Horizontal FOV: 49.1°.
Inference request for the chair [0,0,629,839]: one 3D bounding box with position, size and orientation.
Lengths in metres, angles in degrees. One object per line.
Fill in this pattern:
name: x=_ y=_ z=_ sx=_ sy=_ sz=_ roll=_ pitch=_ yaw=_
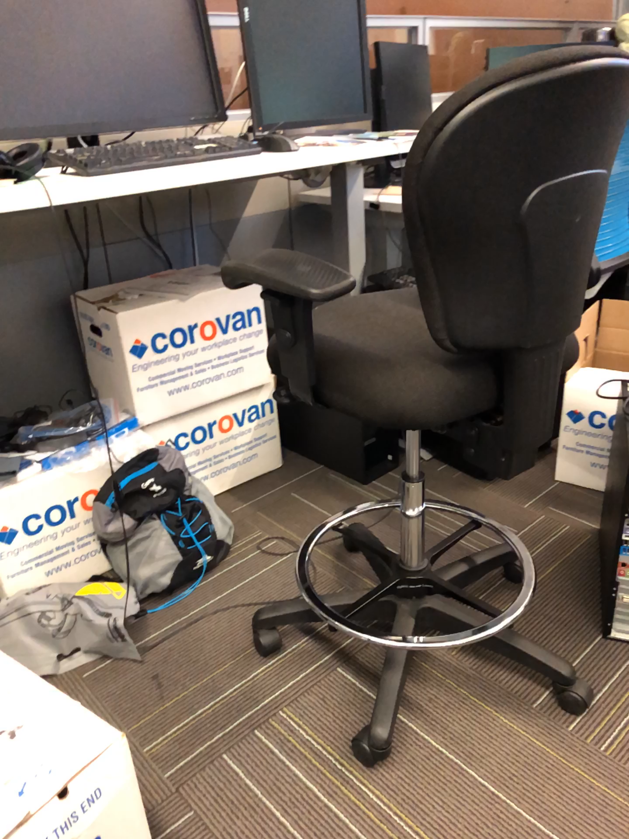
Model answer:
chair: x=0.088 y=-0.040 z=1.250 sx=0.892 sy=1.104 sz=0.962 roll=-25 pitch=32 yaw=-37
